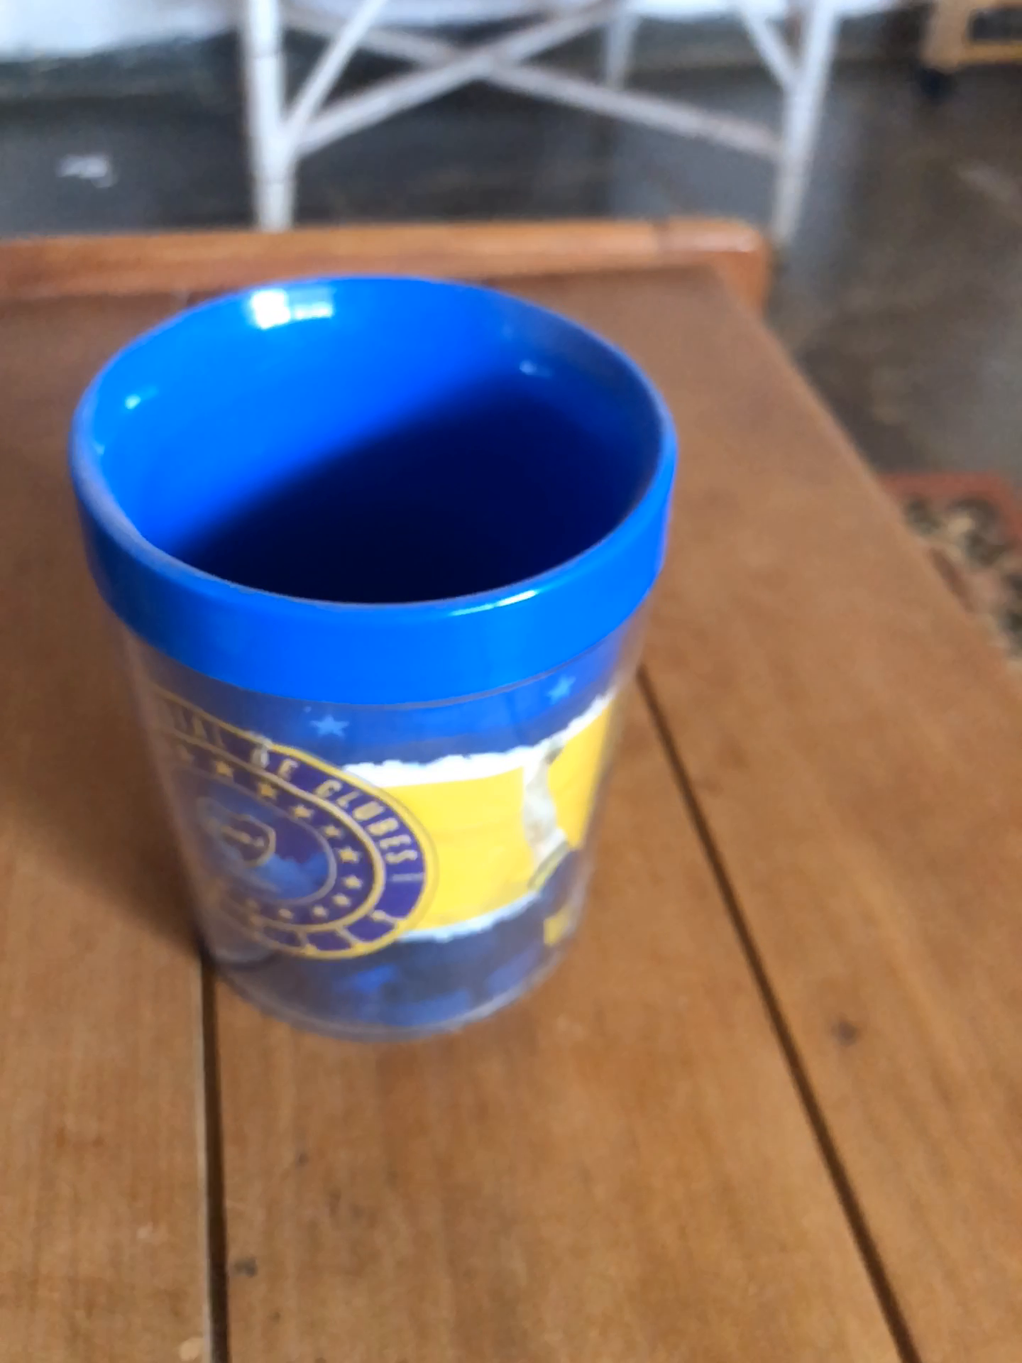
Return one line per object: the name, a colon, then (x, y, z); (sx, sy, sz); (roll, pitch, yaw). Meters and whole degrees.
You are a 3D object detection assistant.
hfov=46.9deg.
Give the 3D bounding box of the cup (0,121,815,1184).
cup: (-0.018, -0.010, 0.201); (0.090, 0.109, 0.121); (18, 47, 13)
